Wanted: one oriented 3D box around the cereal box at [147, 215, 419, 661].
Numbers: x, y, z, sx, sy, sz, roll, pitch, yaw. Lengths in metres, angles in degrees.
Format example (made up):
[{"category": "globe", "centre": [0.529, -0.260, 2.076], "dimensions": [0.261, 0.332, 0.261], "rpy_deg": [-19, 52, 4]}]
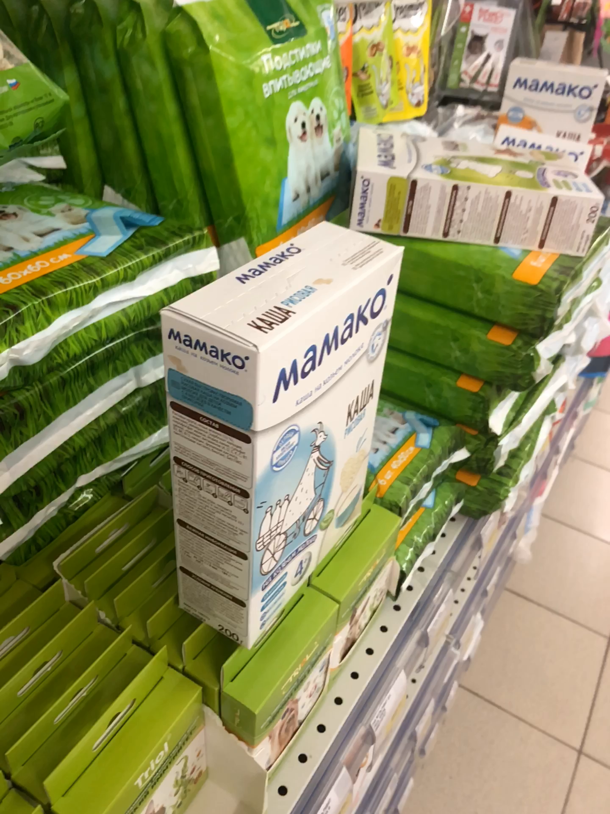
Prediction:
[{"category": "cereal box", "centre": [-0.009, 0.016, 0.377], "dimensions": [0.060, 0.199, 0.141], "rpy_deg": [23, 40, 24]}]
